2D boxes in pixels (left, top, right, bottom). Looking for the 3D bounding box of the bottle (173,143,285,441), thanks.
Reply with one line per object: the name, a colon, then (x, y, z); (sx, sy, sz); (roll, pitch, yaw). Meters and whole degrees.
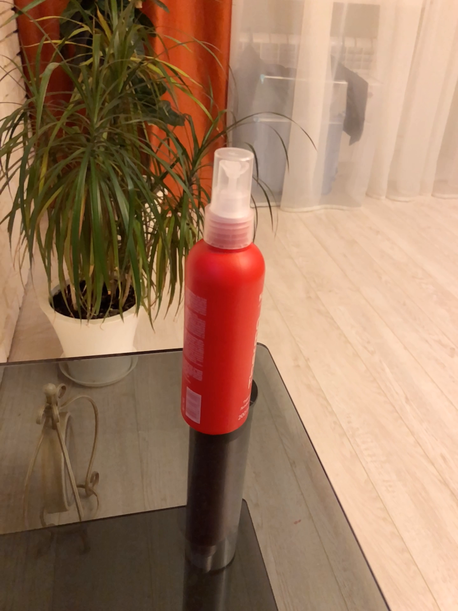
bottle: (-0.007, -0.001, 0.306); (0.052, 0.179, 0.048); (3, 32, -2)
